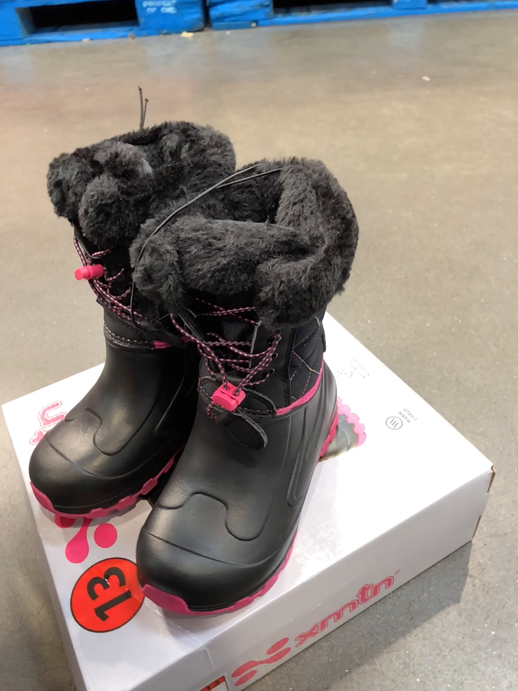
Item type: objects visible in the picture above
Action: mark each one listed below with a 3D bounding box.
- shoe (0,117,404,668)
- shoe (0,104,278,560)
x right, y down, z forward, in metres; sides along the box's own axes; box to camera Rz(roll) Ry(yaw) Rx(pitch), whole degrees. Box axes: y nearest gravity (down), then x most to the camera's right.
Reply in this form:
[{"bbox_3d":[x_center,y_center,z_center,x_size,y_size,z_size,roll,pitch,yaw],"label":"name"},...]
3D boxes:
[{"bbox_3d":[-0.017,0.023,0.354,0.110,0.229,0.221,20,48,25],"label":"shoe"},{"bbox_3d":[-0.104,-0.016,0.402,0.110,0.209,0.221,28,52,31],"label":"shoe"}]
